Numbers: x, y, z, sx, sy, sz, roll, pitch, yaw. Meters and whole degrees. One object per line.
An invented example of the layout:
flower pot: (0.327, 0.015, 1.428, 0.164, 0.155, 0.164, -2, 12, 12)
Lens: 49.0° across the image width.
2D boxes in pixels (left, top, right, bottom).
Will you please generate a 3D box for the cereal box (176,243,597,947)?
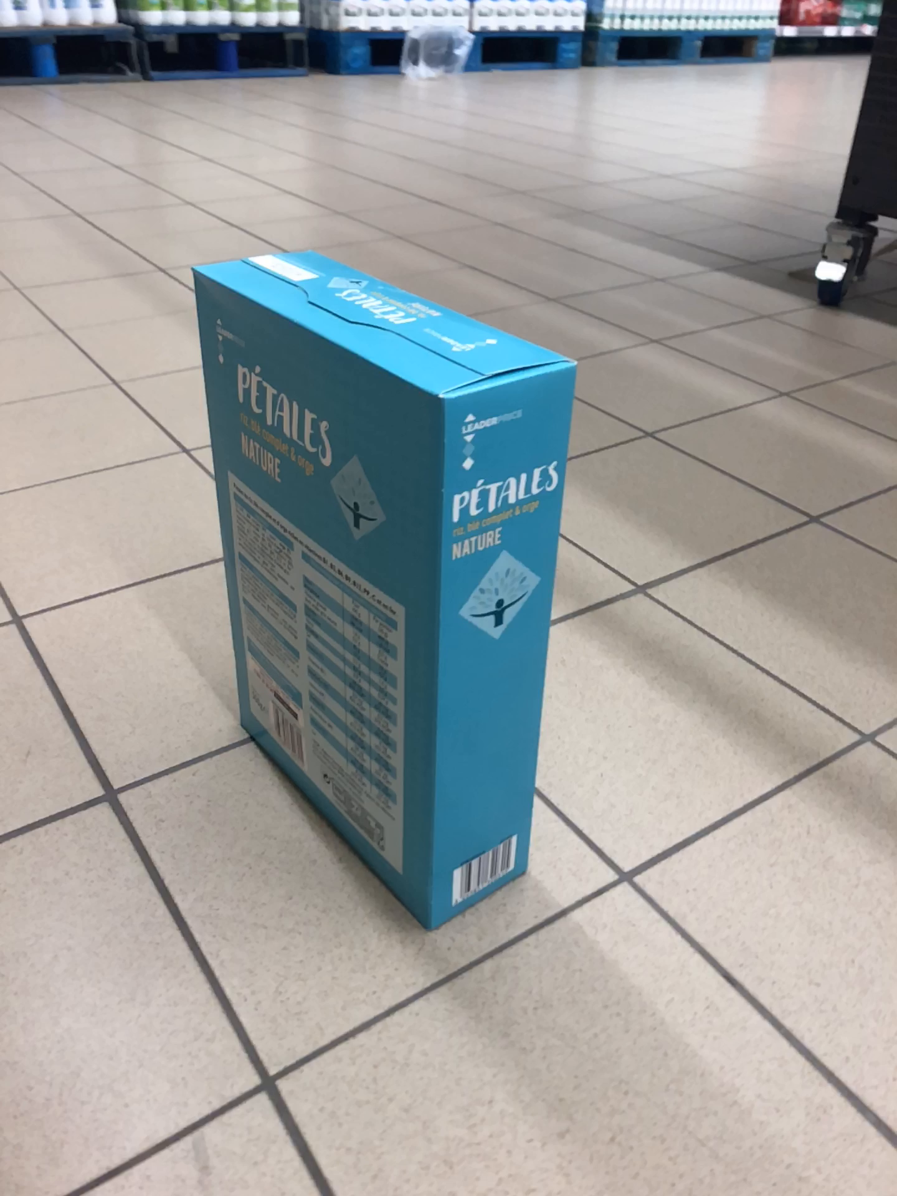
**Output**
cereal box: (-0.040, -0.007, 0.471, 0.070, 0.268, 0.200, -21, 38, -32)
